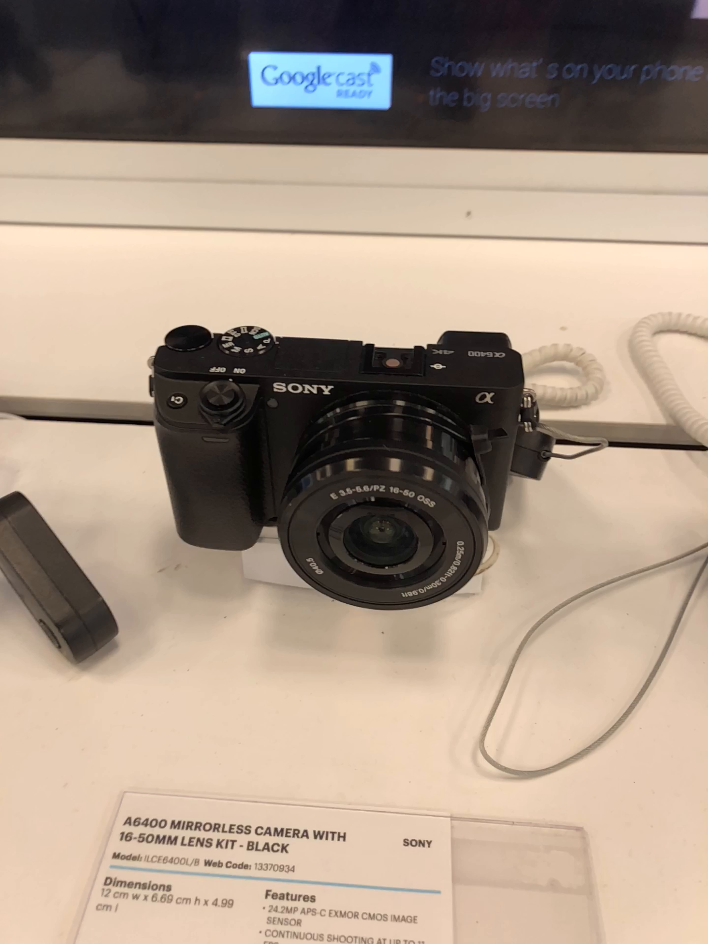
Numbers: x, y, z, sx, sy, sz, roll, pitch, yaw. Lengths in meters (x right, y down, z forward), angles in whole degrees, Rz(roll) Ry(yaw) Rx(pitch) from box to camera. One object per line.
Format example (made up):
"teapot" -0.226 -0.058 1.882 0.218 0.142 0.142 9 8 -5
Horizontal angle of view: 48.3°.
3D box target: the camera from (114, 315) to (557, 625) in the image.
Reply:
"camera" -0.004 -0.002 0.263 0.120 0.070 0.070 2 40 3
